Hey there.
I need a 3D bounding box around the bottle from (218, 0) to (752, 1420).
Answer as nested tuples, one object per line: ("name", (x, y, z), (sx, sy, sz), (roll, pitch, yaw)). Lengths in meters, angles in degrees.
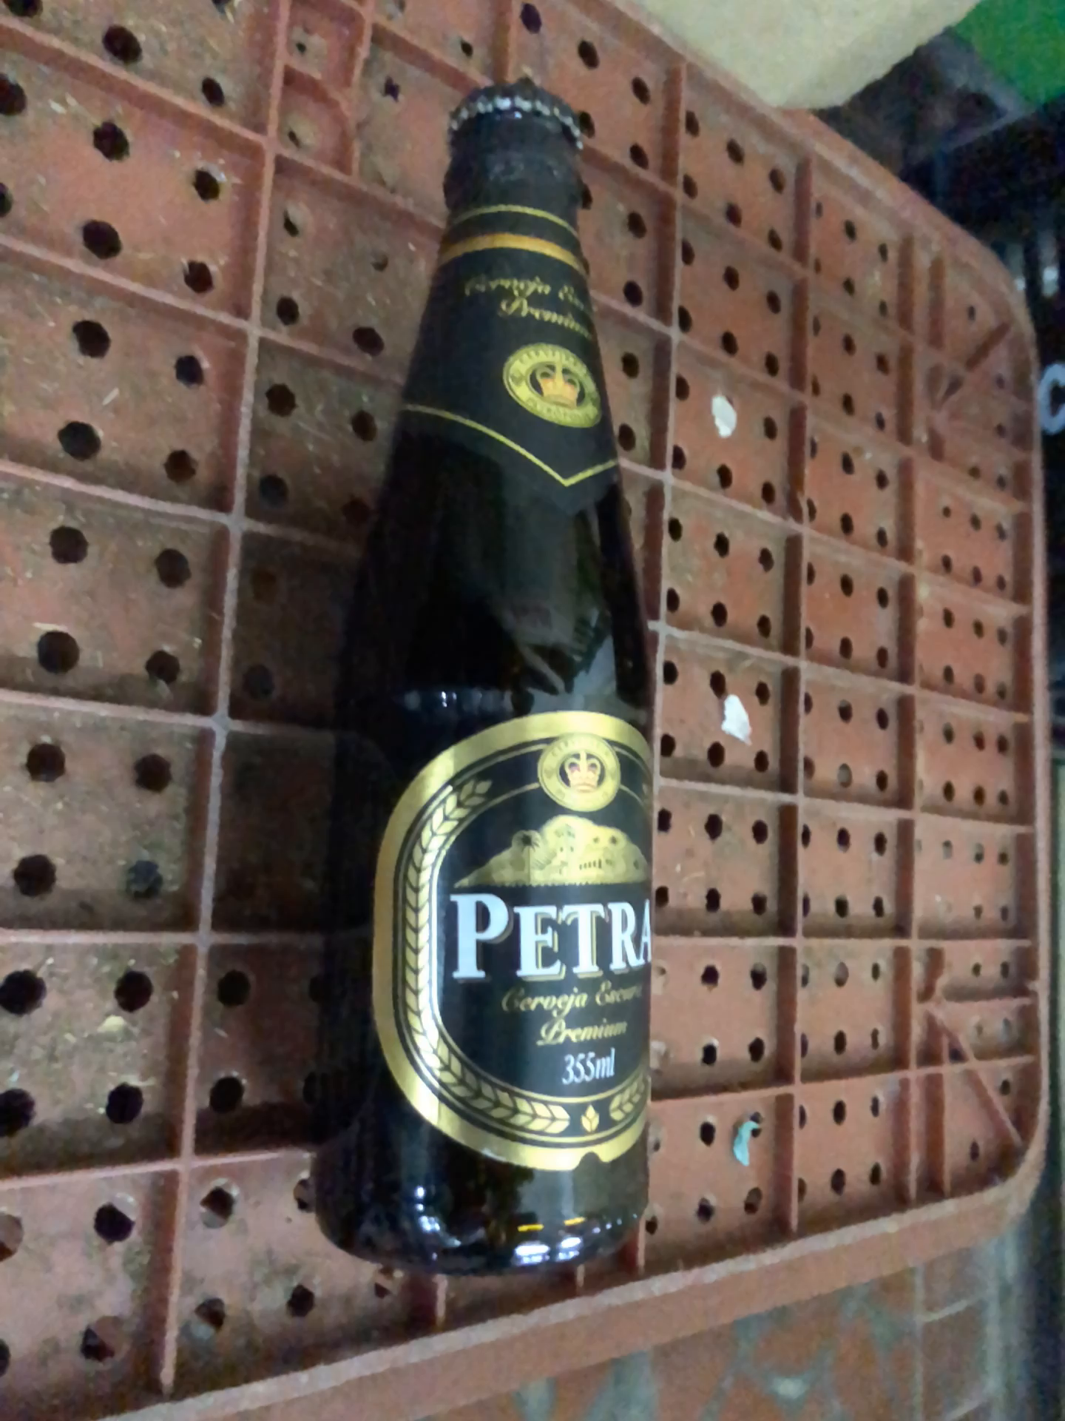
("bottle", (-0.007, -0.018, 0.223), (0.070, 0.060, 0.250), (7, 79, -40))
